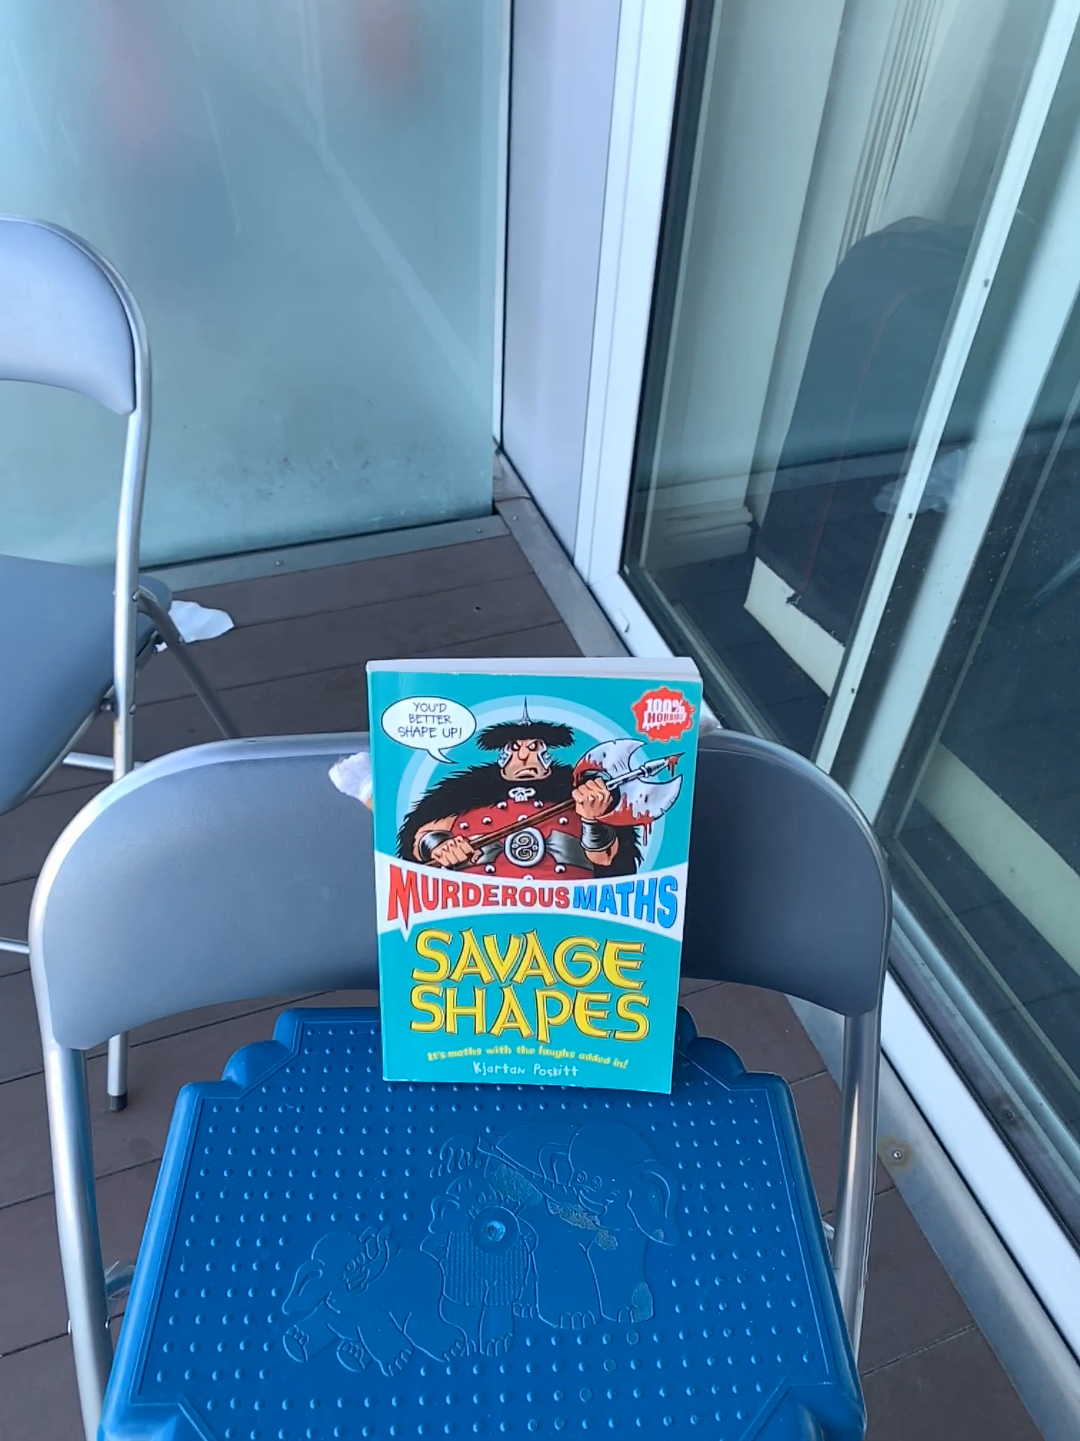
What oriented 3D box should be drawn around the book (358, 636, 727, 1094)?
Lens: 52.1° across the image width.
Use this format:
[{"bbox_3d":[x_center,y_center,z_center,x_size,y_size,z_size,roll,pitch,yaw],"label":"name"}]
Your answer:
[{"bbox_3d":[-0.003,0.064,0.450,0.133,0.193,0.029,2,23,-2],"label":"book"}]
